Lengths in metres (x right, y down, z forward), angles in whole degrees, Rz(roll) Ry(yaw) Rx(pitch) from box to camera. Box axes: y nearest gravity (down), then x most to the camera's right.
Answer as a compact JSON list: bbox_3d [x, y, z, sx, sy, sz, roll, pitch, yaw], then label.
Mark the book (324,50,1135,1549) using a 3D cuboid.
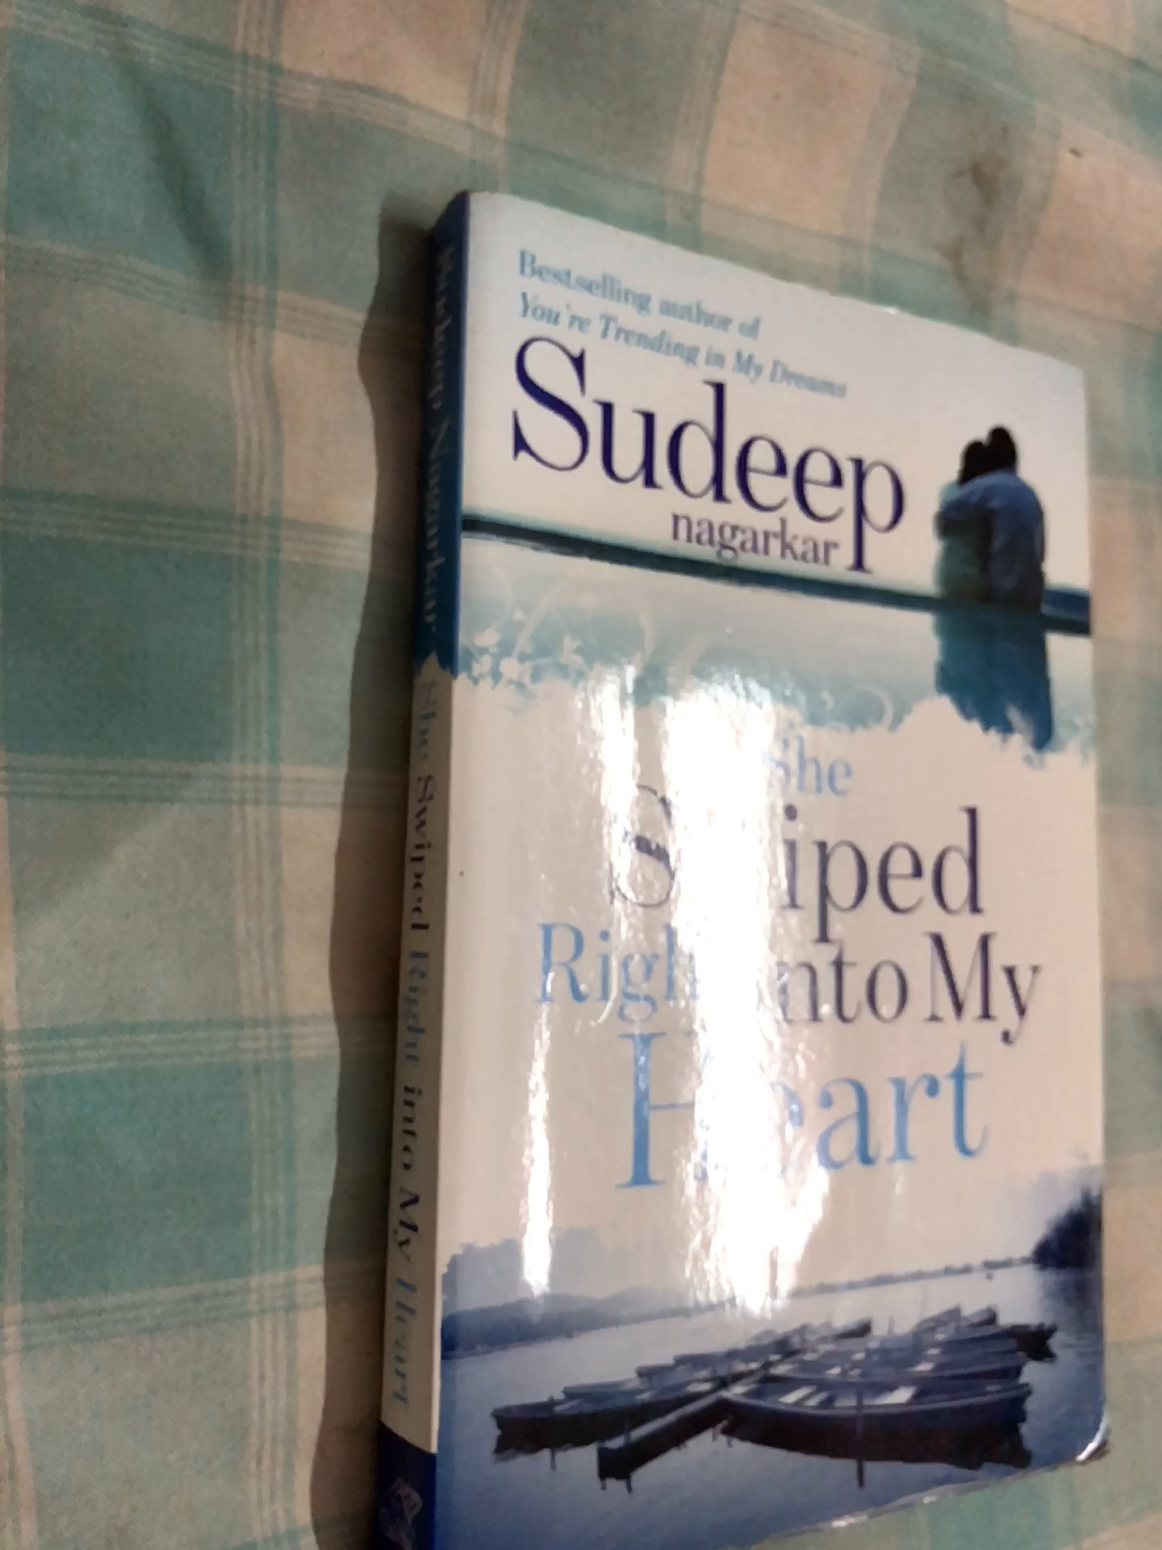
[{"bbox_3d":[0.031,0.012,0.213,0.130,0.030,0.210,4,84,-28],"label":"book"}]
